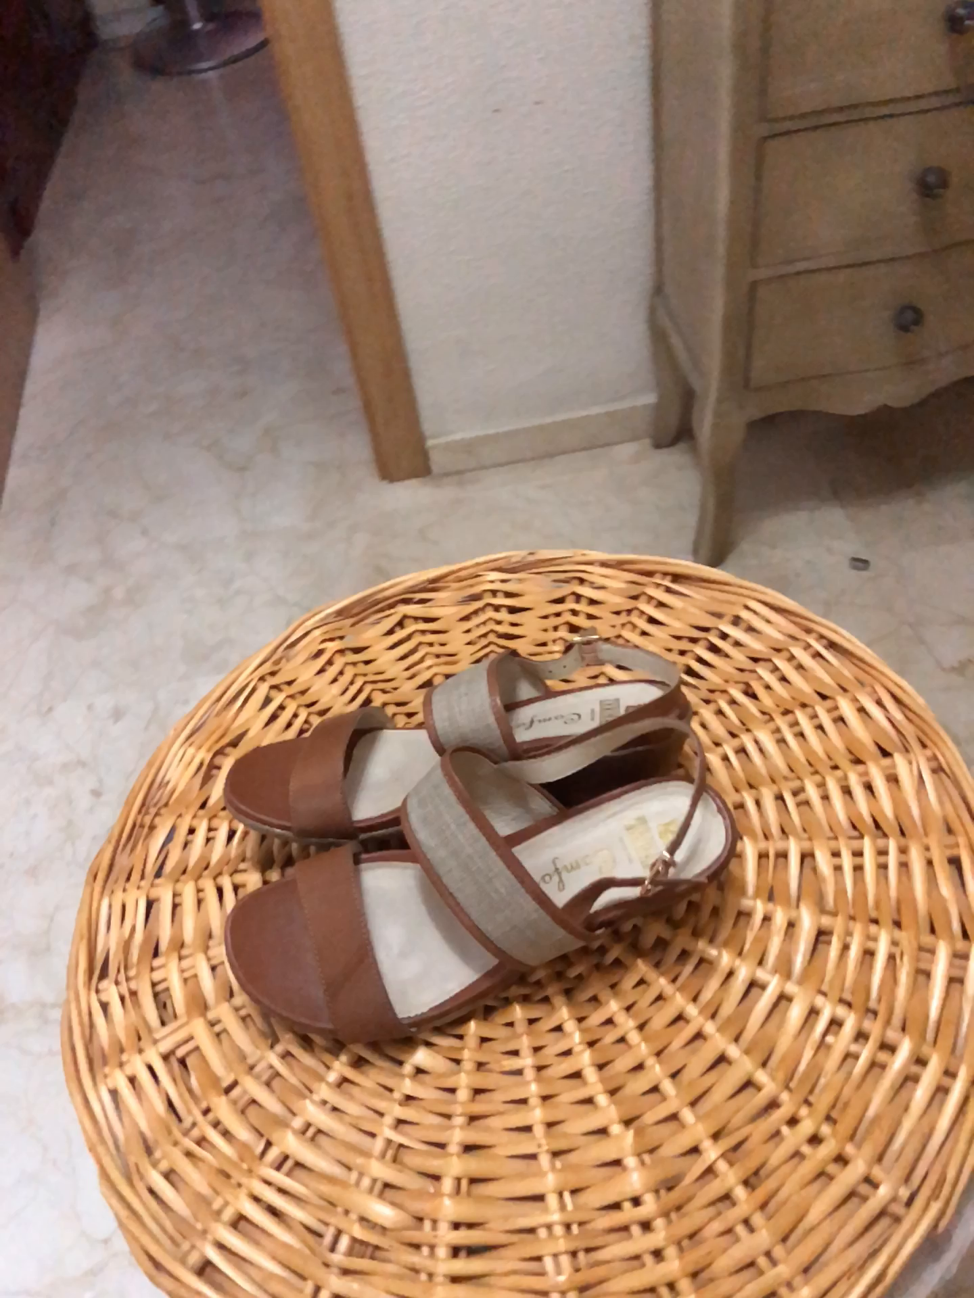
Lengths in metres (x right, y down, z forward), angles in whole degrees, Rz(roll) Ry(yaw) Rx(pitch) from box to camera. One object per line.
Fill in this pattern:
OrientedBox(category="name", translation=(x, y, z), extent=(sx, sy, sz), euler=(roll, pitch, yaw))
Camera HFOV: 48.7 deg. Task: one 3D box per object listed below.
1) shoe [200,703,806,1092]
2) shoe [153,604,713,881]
OrientedBox(category="shoe", translation=(0.007, 0.122, 0.532), extent=(0.270, 0.090, 0.090), euler=(-14, 47, -3))
OrientedBox(category="shoe", translation=(-0.025, 0.048, 0.576), extent=(0.270, 0.070, 0.100), euler=(-7, 33, 4))
